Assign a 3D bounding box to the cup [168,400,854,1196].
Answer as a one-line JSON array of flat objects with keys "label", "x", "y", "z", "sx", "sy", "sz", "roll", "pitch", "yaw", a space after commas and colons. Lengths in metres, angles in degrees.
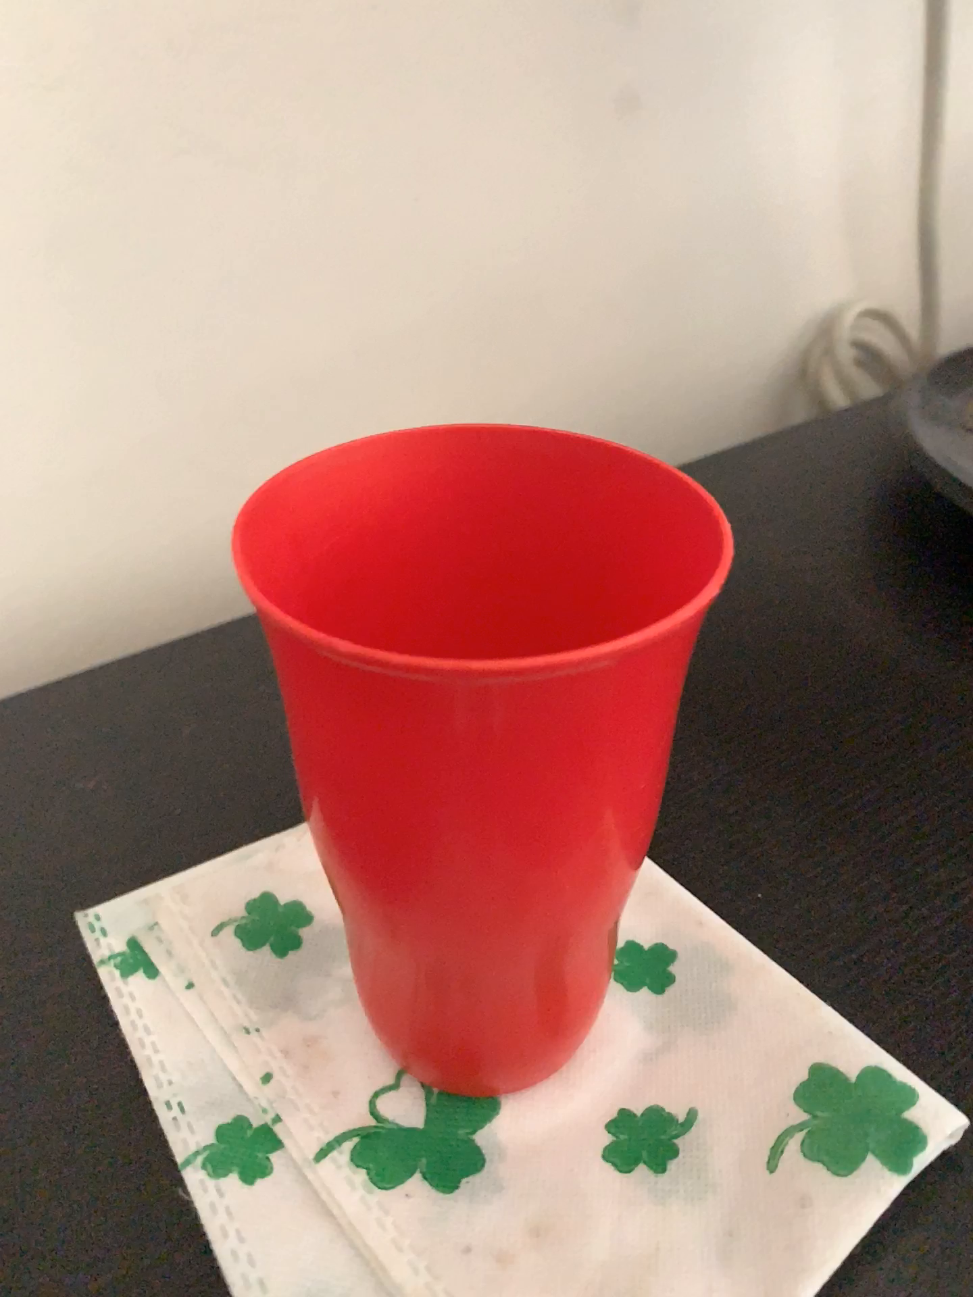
[{"label": "cup", "x": -0.003, "y": 0.019, "z": 0.179, "sx": 0.079, "sy": 0.091, "sz": 0.082, "roll": 0, "pitch": 33, "yaw": 0}]
